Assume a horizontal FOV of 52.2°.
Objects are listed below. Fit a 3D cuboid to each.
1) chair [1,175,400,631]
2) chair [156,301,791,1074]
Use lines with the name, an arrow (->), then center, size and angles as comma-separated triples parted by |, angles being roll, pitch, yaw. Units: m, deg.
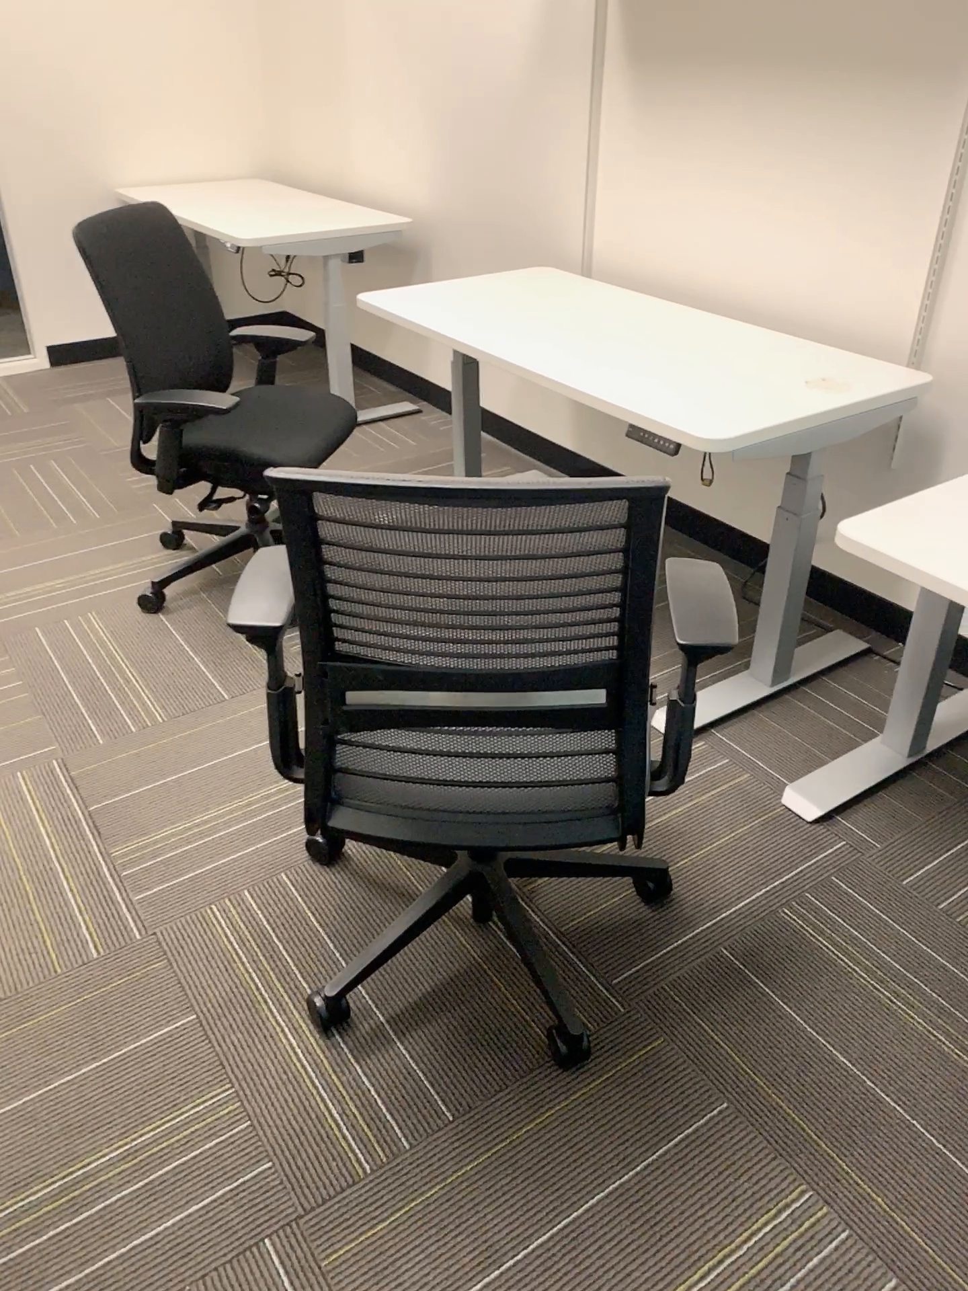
chair -> -0.669, -0.684, 2.700 | 0.700, 0.994, 0.734 | 5, 32, 7
chair -> -0.023, 0.056, 1.529 | 0.640, 0.994, 0.644 | -1, 32, -2
